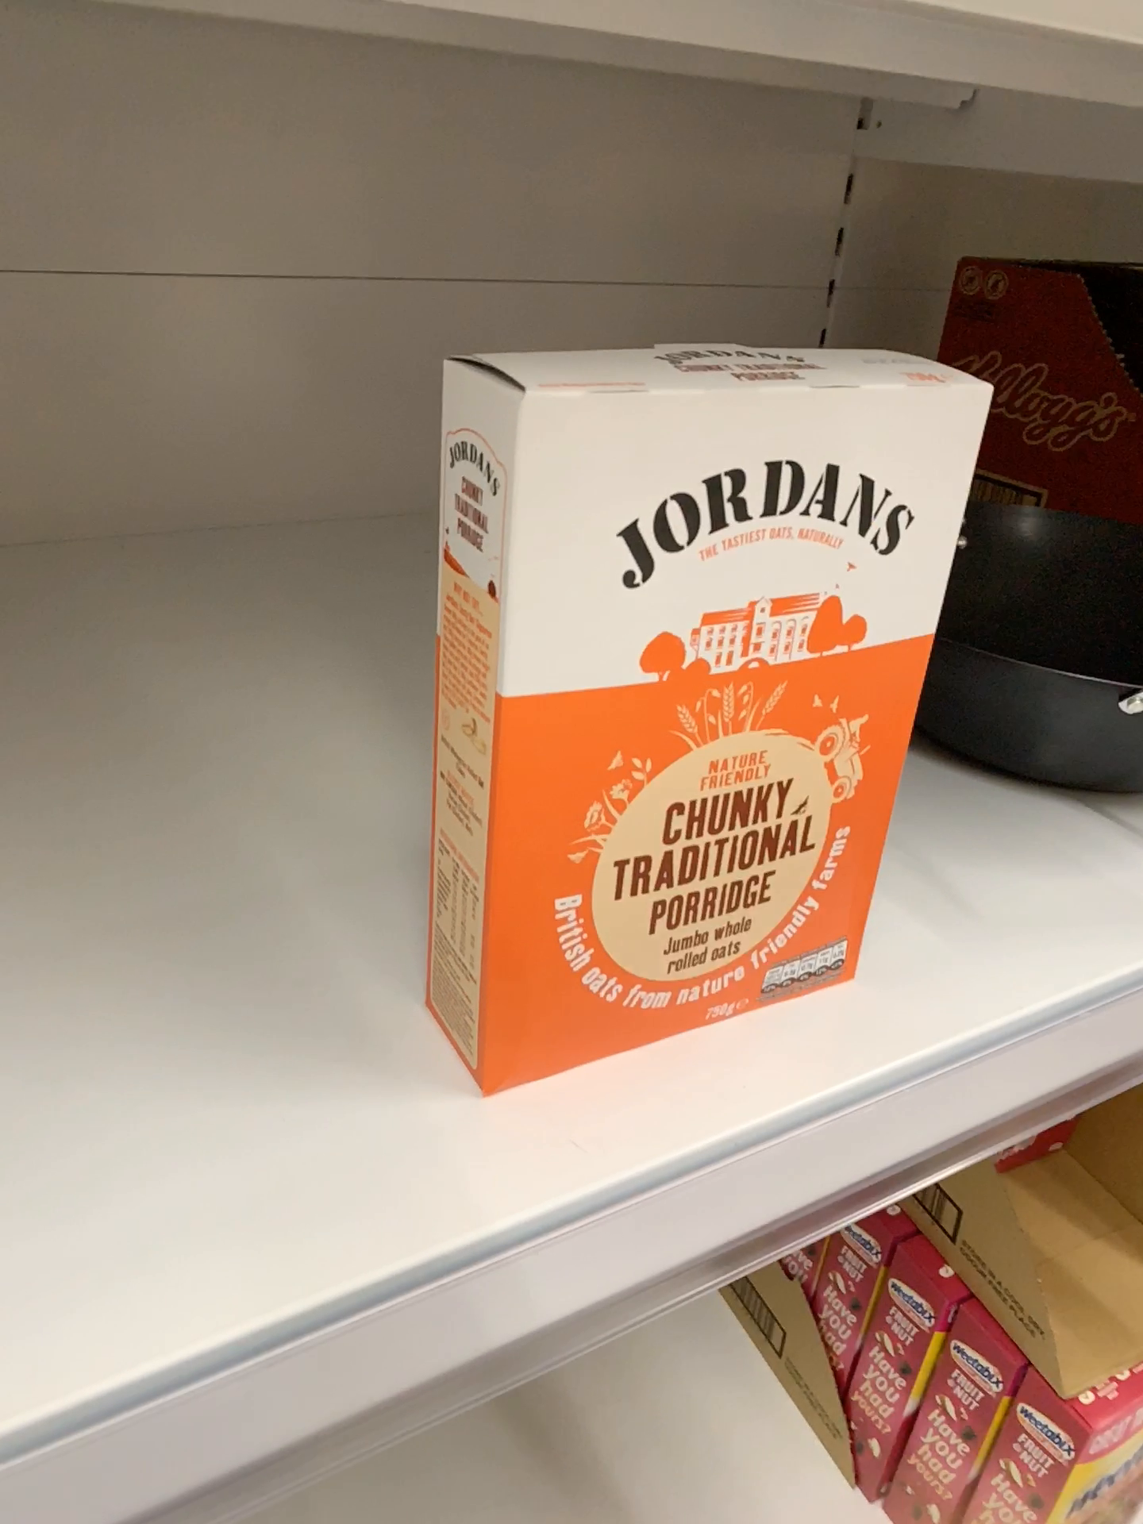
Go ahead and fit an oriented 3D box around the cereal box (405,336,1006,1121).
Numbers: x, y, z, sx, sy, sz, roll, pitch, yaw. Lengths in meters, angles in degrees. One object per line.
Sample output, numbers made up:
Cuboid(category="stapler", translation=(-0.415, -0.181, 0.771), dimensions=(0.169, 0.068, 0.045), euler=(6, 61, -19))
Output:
Cuboid(category="cereal box", translation=(0.040, -0.014, 0.442), dimensions=(0.191, 0.268, 0.060), euler=(-11, 31, -28))
